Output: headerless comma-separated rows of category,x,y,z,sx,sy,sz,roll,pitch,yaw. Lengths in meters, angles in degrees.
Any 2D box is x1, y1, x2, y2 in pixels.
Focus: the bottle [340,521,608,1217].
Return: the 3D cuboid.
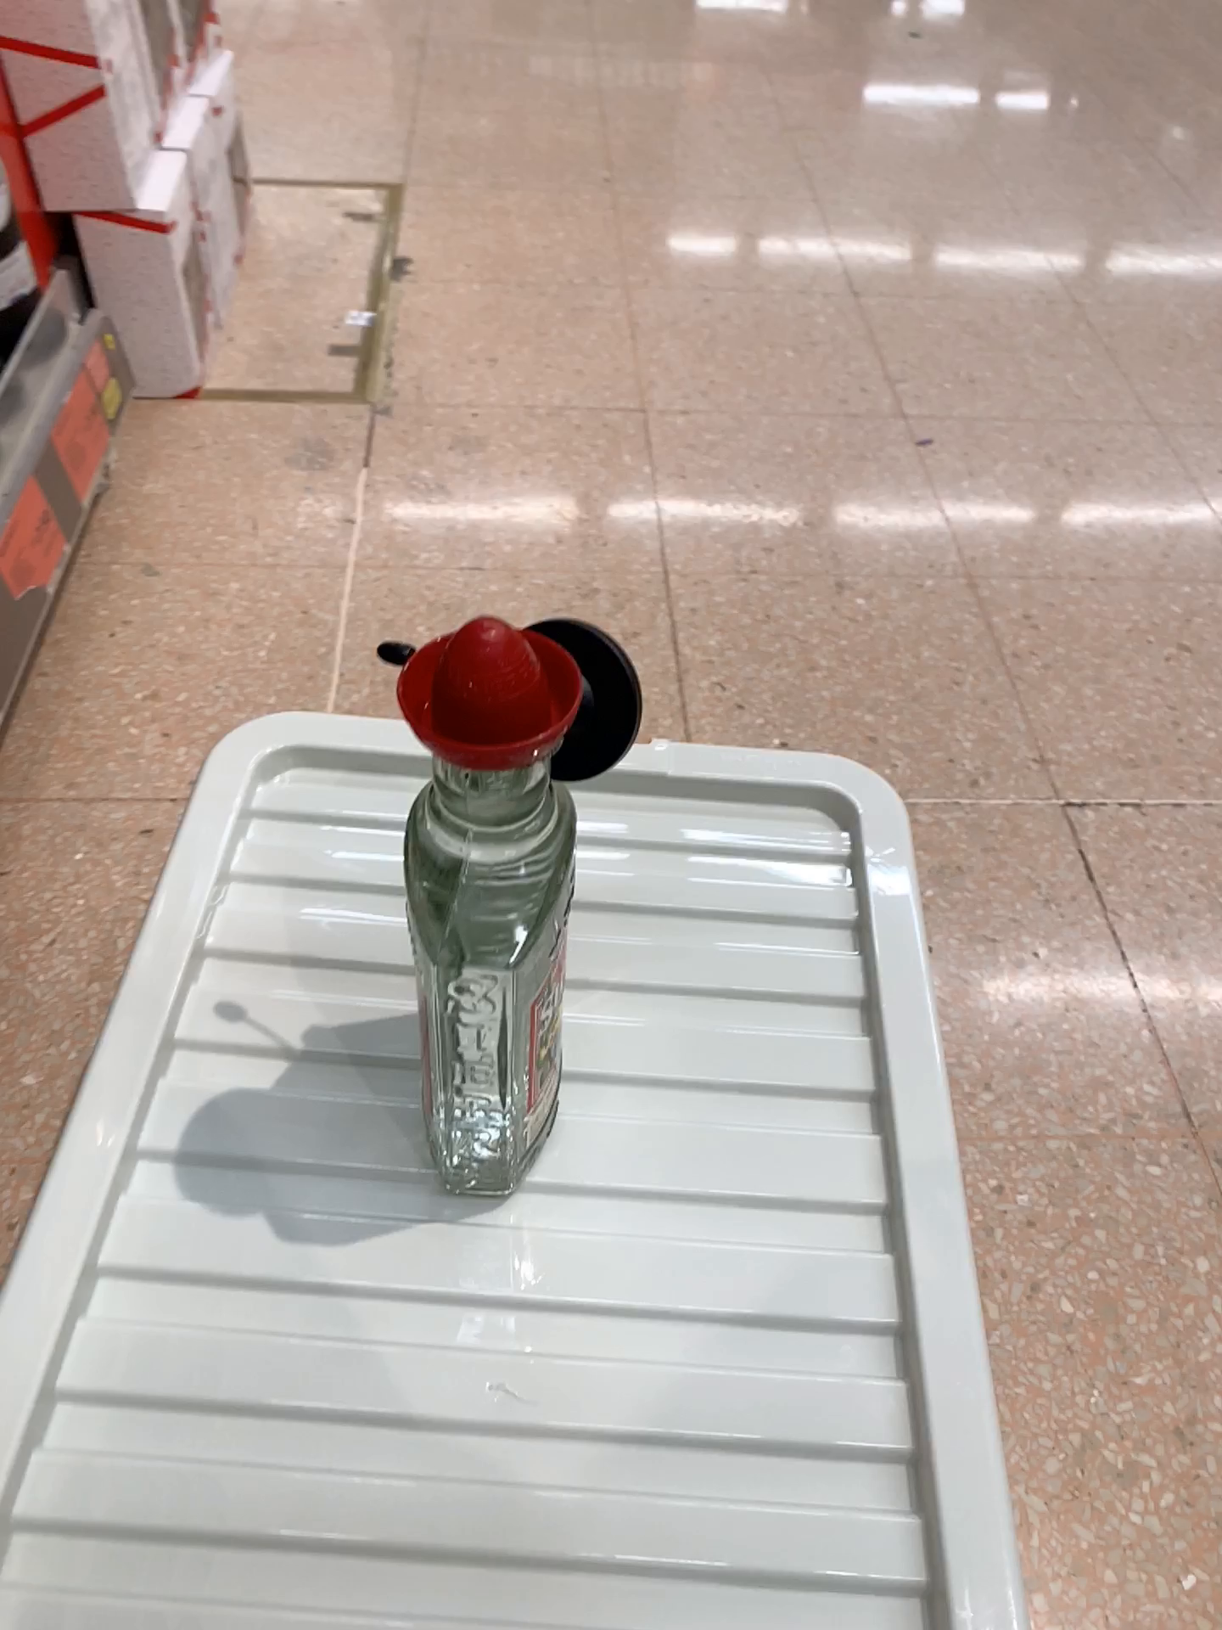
bottle,-0.040,0.033,0.431,0.058,0.240,0.104,6,47,1
